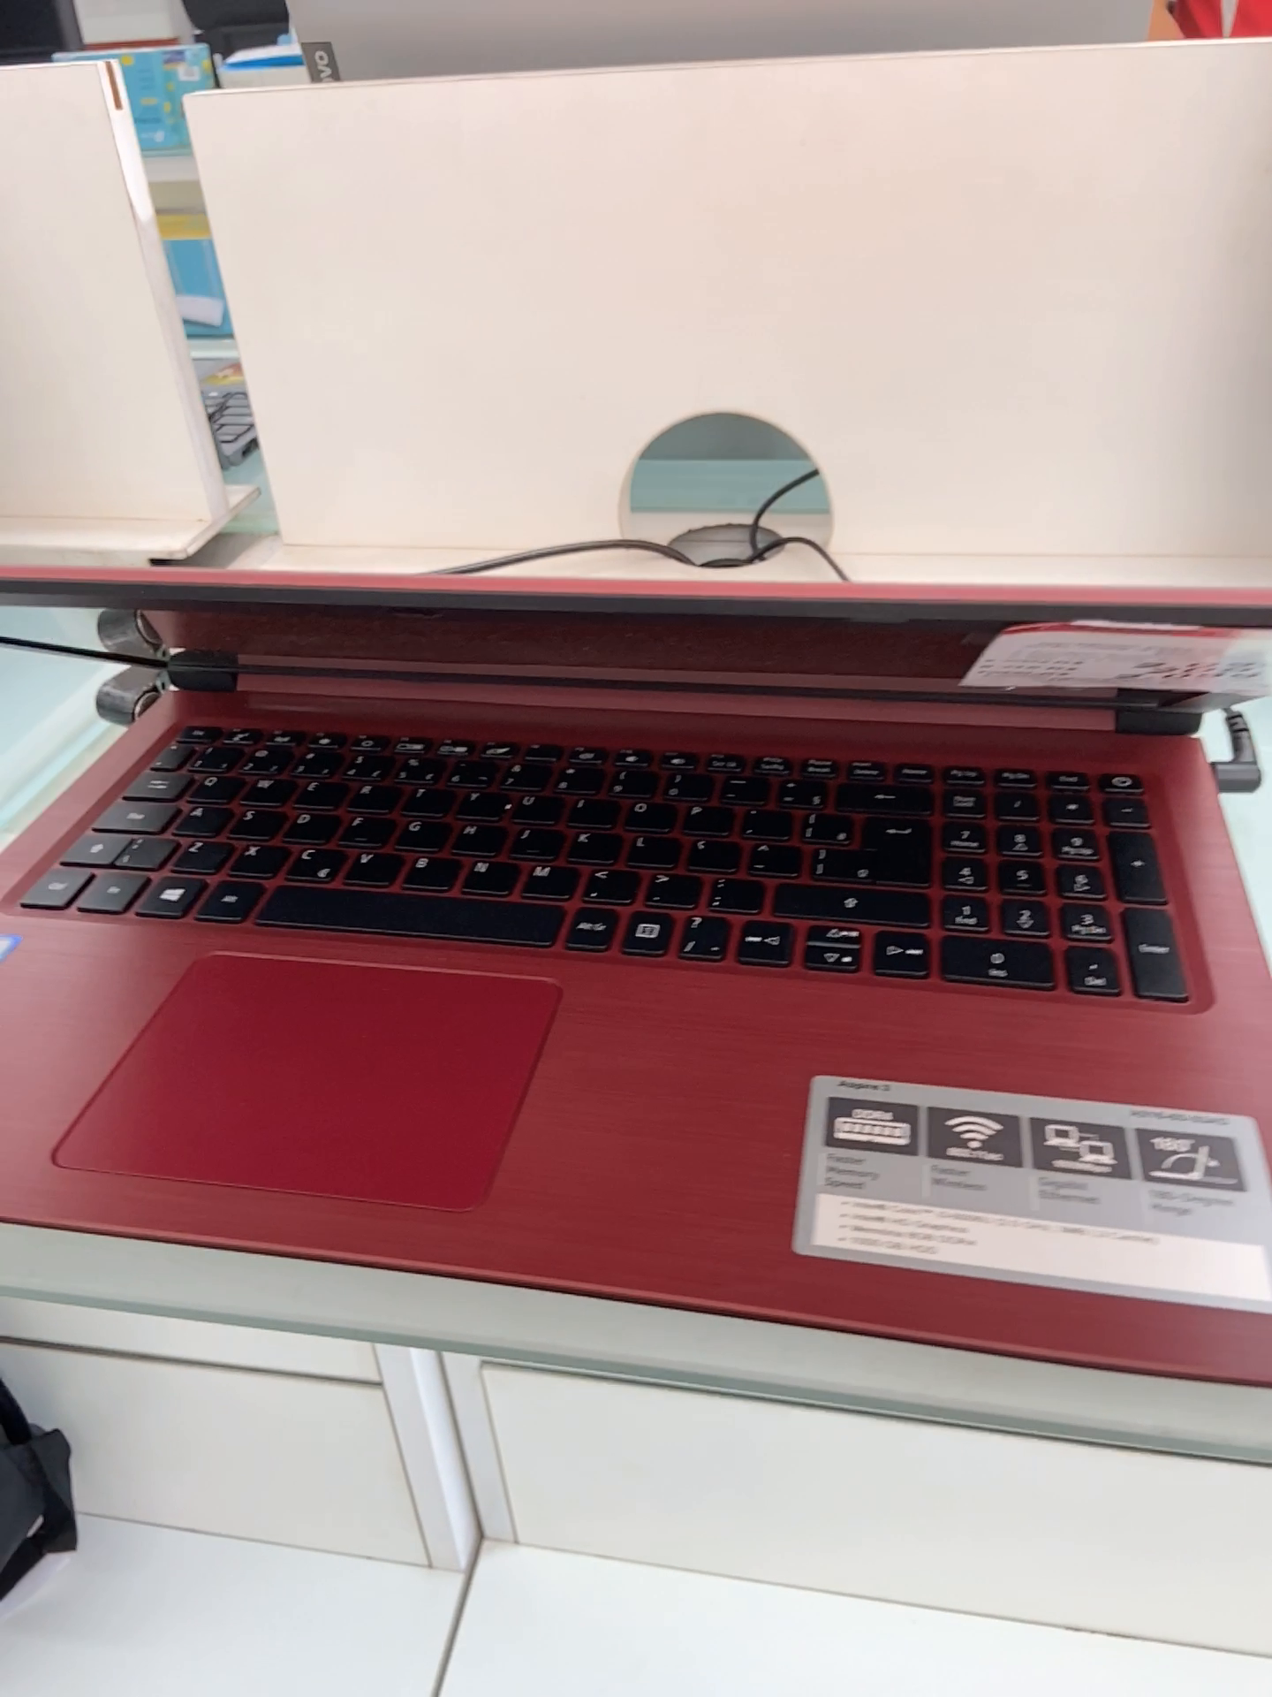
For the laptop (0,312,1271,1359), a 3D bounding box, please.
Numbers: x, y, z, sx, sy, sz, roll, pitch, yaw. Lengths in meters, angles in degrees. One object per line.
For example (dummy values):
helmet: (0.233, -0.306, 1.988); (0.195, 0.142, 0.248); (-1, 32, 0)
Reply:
laptop: (-0.025, -0.037, 0.339); (0.379, 0.132, 0.237); (3, 35, 11)
